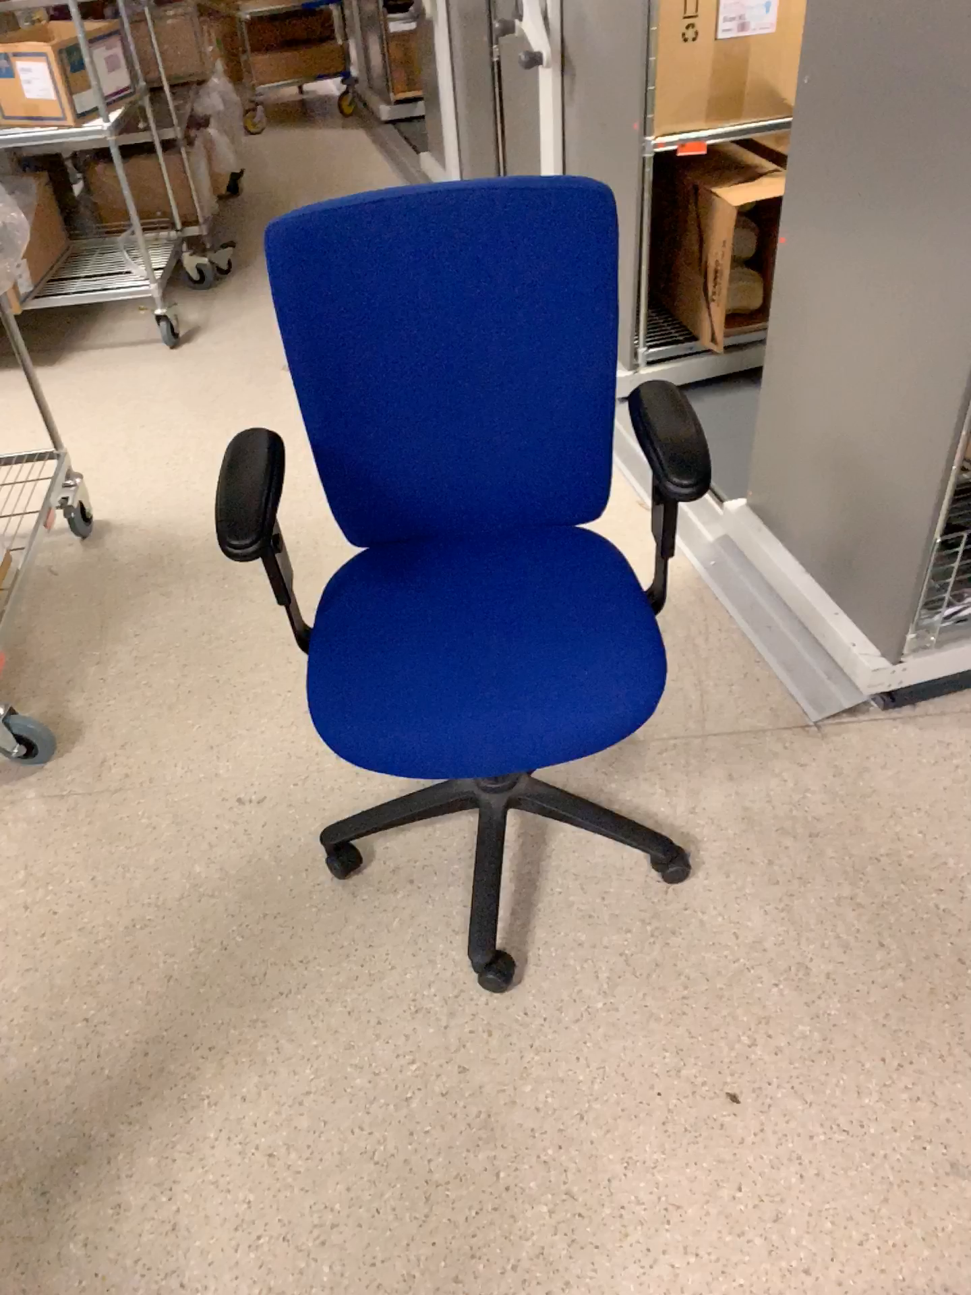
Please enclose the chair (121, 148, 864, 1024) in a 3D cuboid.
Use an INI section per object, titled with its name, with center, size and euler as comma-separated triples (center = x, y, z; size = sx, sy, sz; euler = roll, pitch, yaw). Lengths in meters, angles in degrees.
[chair]
center = -0.012, -0.100, 1.469
size = 0.670, 0.931, 0.768
euler = -9, 40, -4
